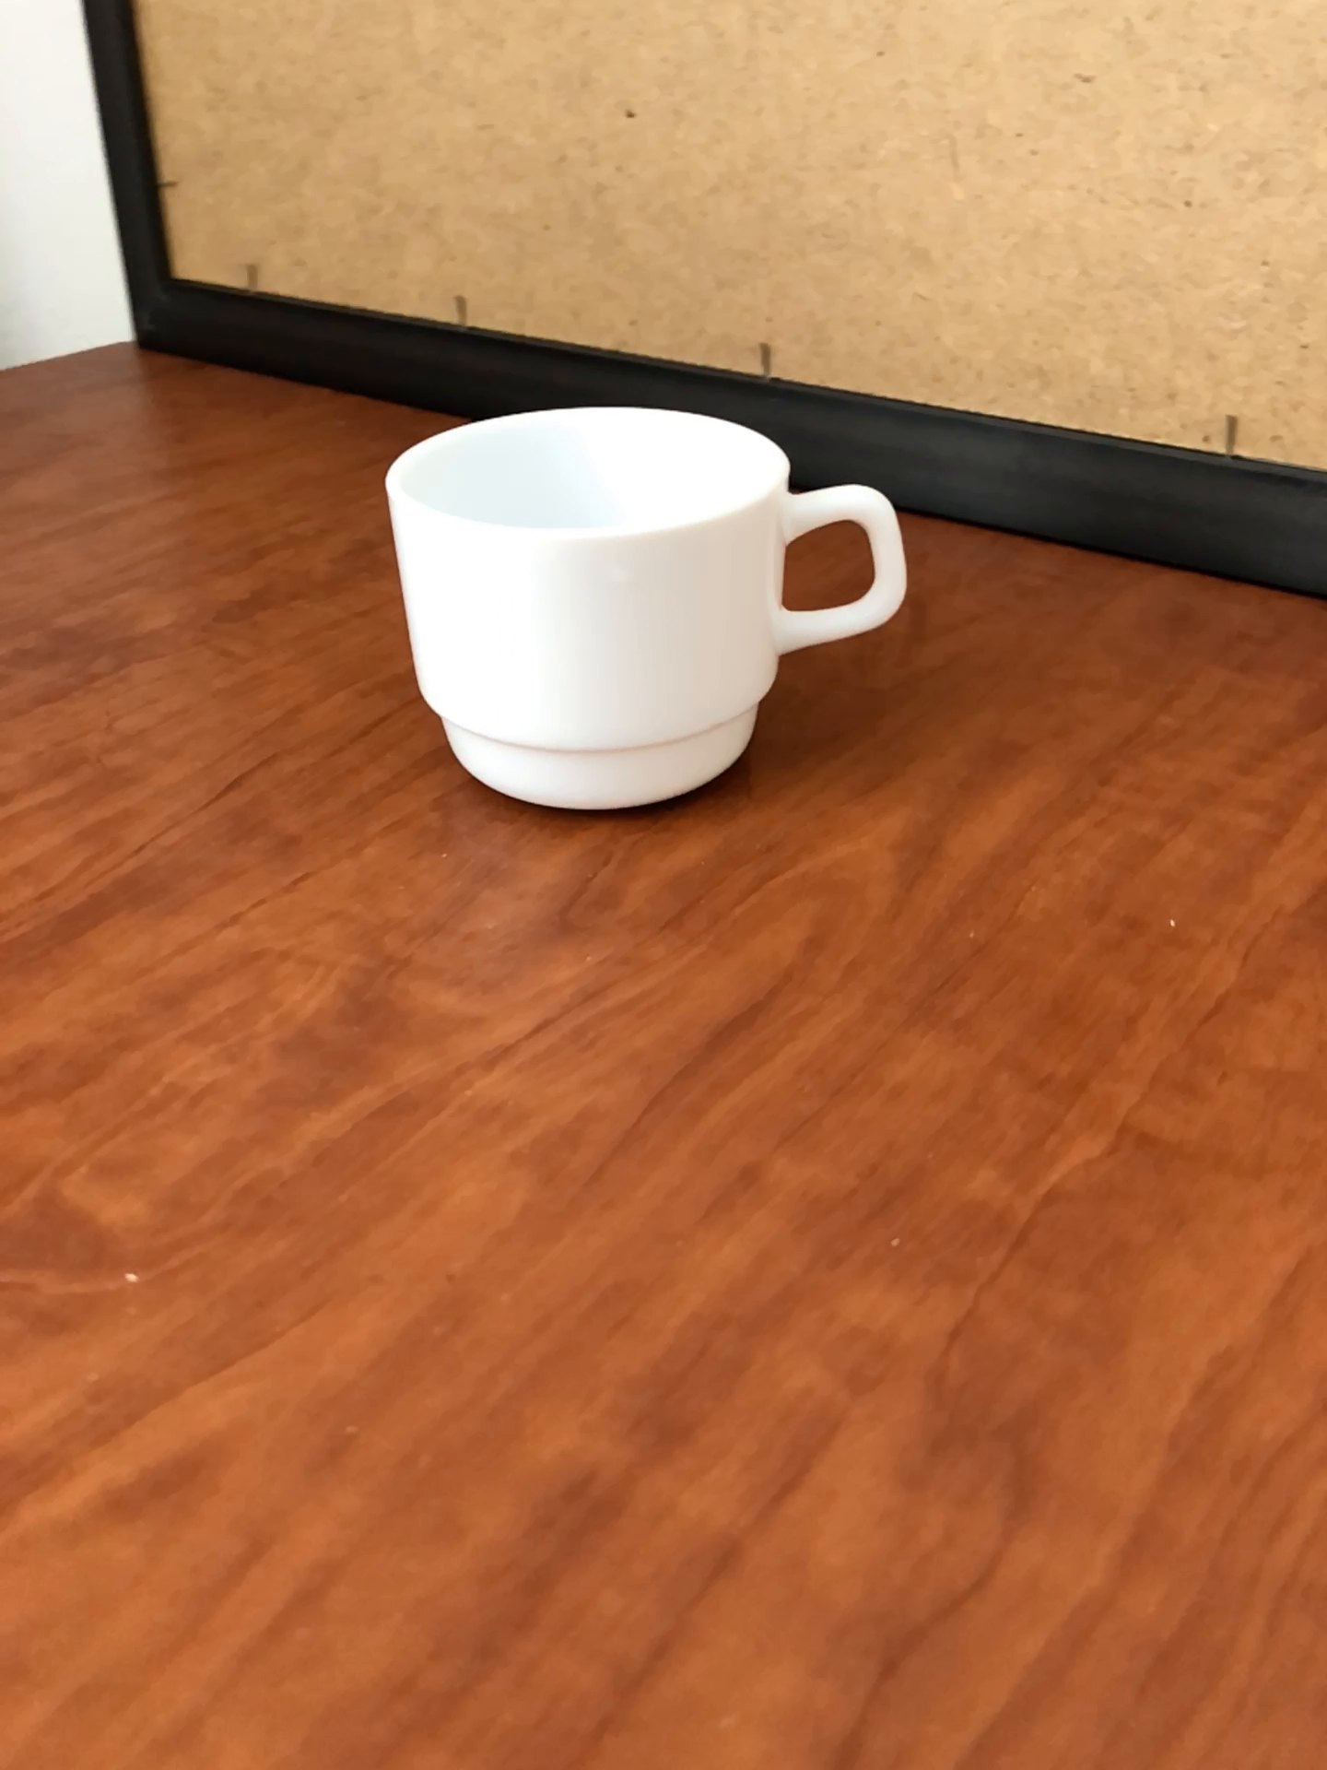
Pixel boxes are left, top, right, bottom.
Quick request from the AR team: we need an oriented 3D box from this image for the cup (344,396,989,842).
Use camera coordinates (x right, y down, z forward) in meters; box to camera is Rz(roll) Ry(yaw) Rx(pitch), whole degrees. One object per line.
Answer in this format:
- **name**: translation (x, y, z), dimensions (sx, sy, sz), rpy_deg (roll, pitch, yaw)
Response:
- **cup**: translation (-0.003, -0.062, 0.322), dimensions (0.120, 0.060, 0.087), rpy_deg (-5, 33, -5)
